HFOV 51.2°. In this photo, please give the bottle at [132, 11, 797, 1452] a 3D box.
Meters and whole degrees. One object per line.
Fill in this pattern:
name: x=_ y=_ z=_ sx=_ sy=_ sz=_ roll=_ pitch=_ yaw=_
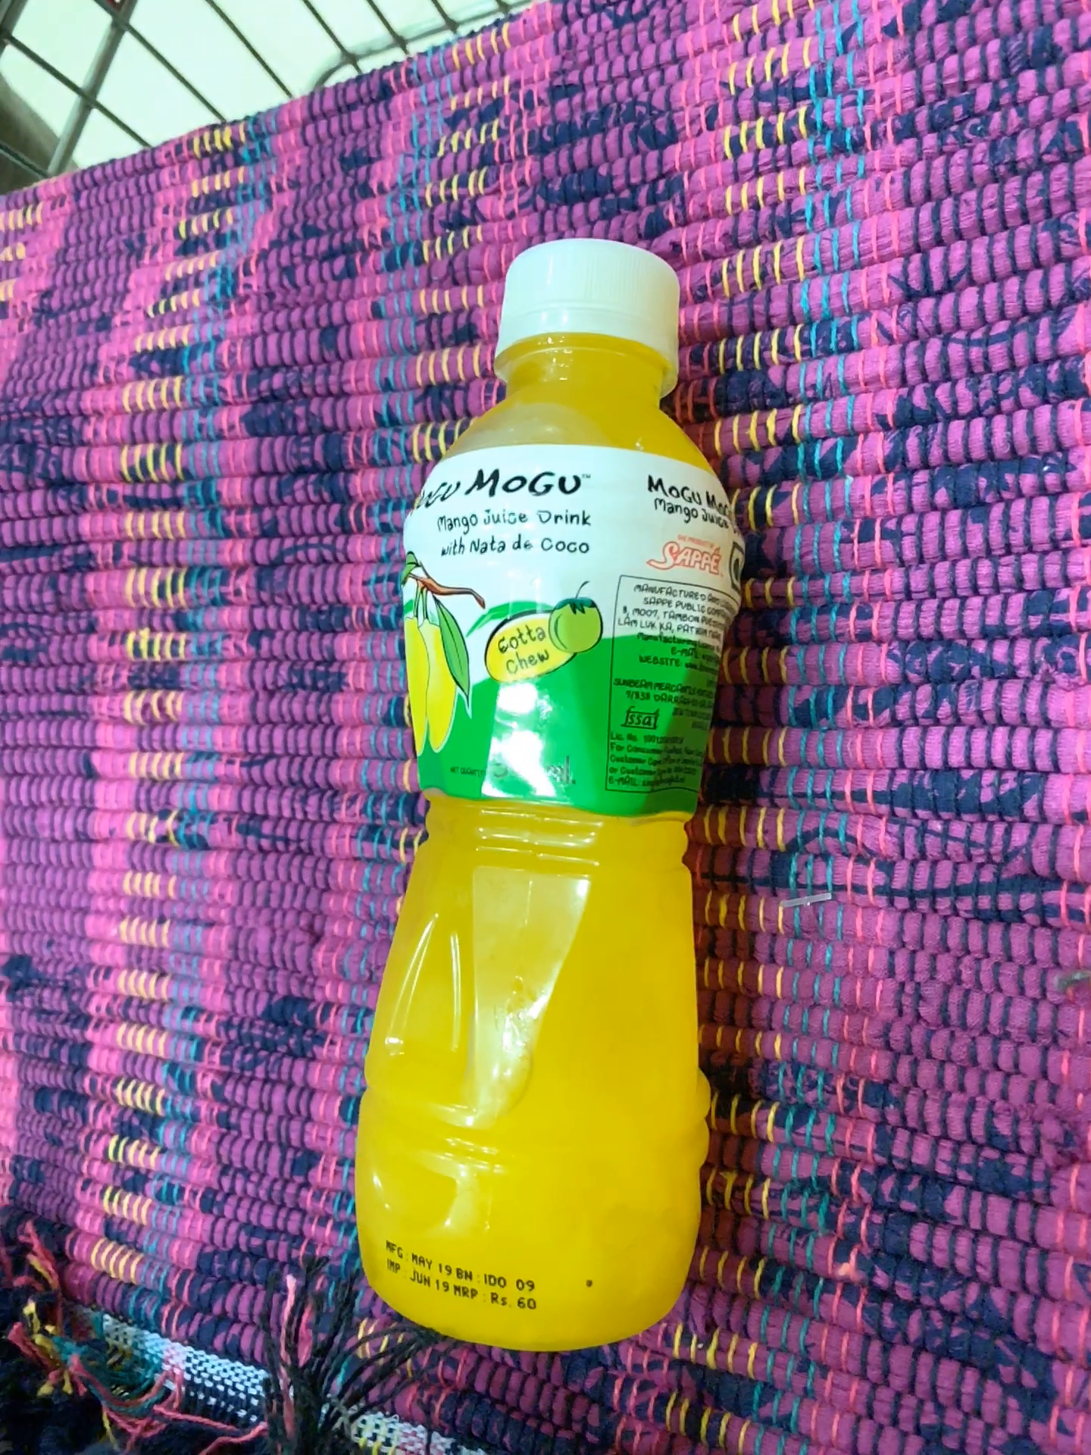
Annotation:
bottle: x=-0.007 y=-0.001 z=0.166 sx=0.060 sy=0.060 sz=0.160 roll=2 pitch=85 yaw=29
